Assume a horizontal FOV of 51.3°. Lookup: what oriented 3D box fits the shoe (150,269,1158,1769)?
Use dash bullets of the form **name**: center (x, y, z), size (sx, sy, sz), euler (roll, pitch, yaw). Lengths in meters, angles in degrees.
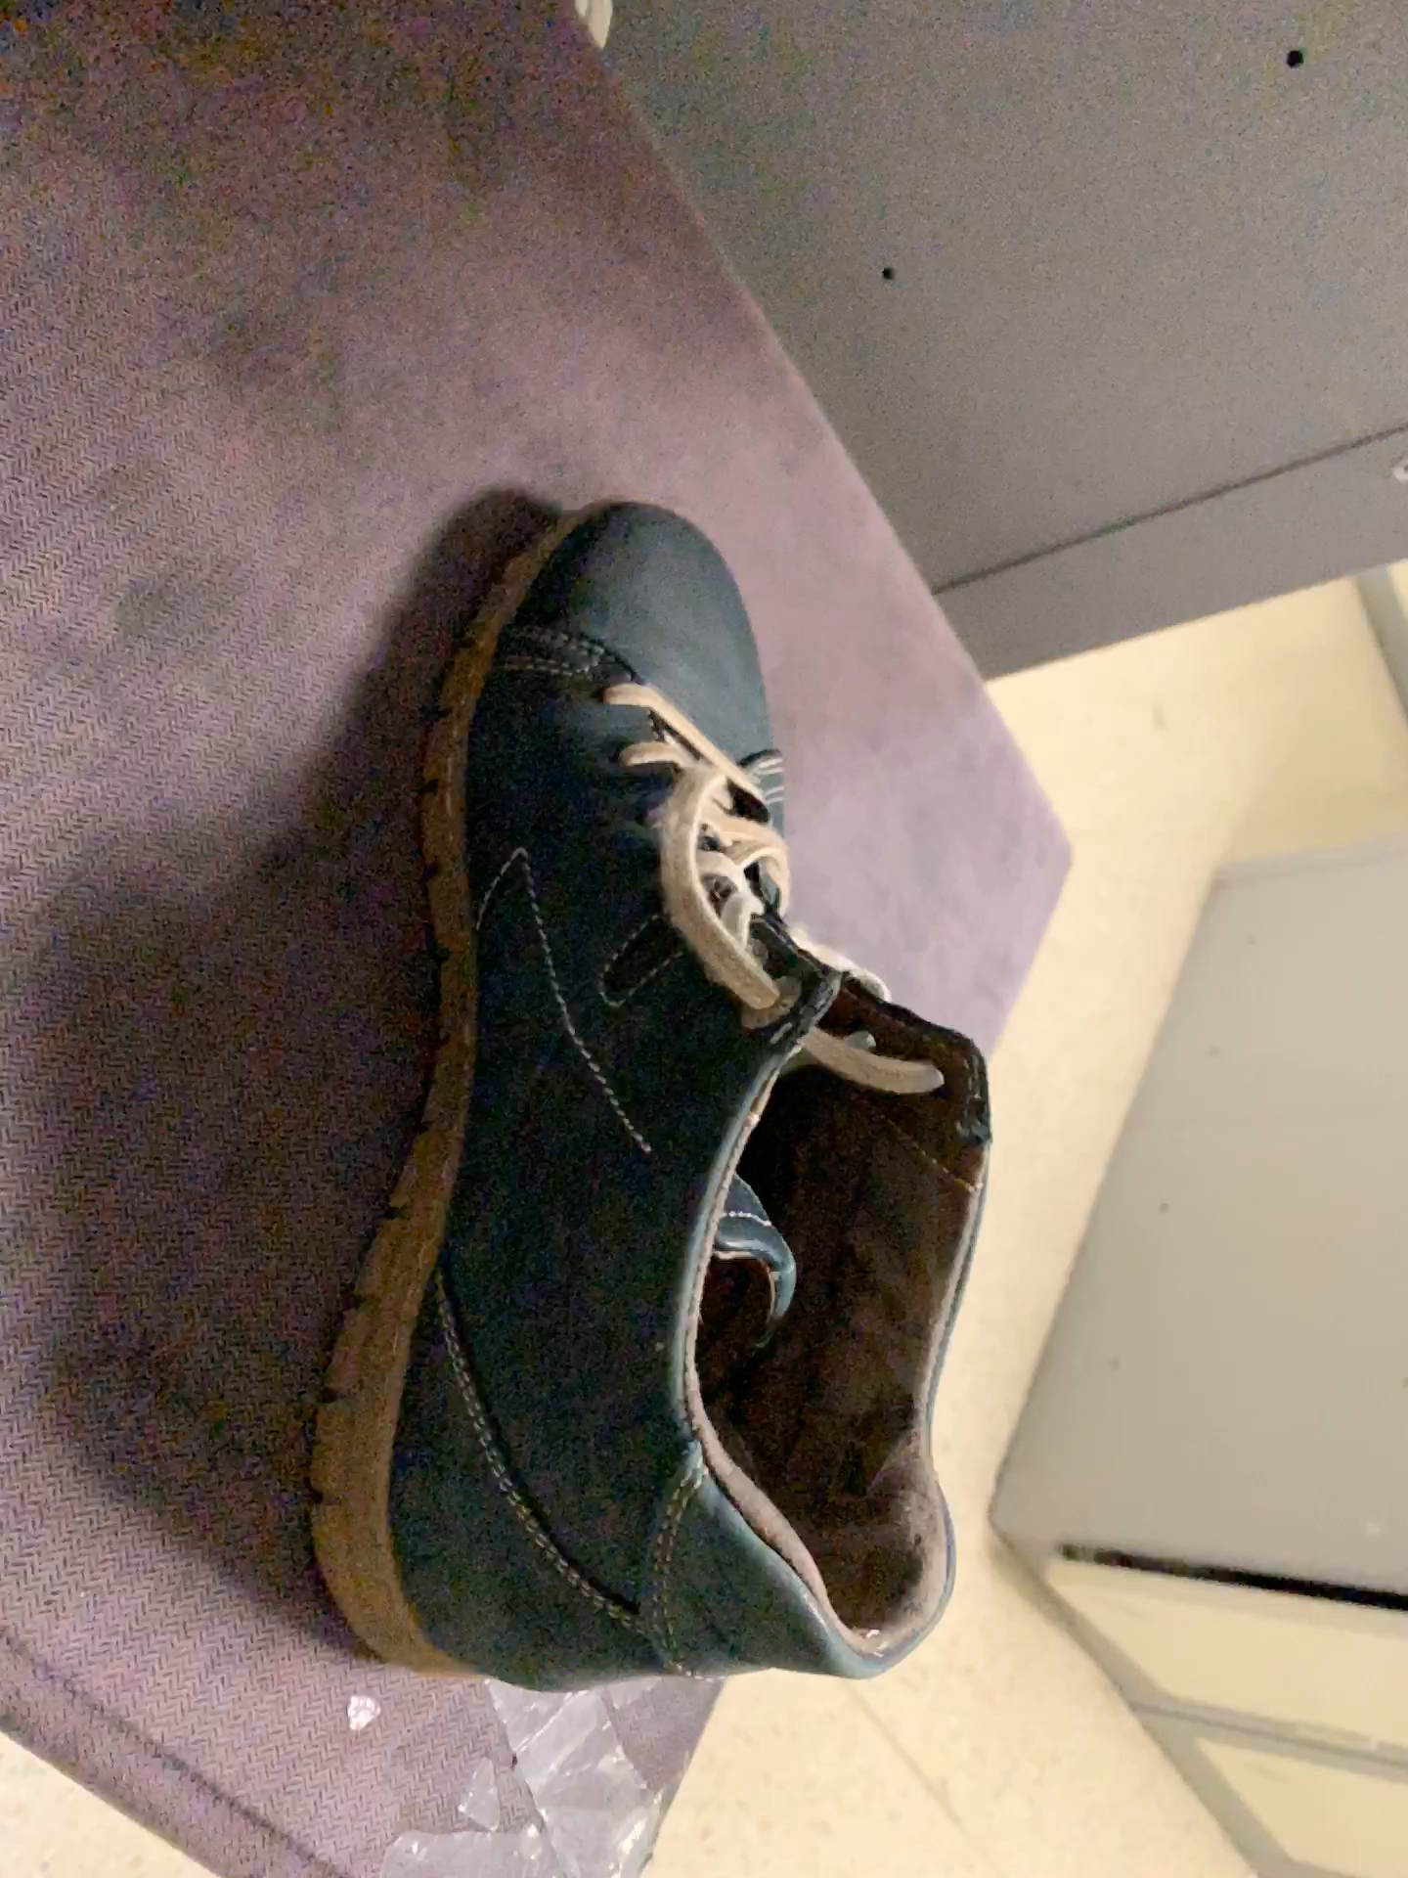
- **shoe**: center (0.000, 0.018, 0.307), size (0.104, 0.142, 0.245), euler (28, 61, -41)
